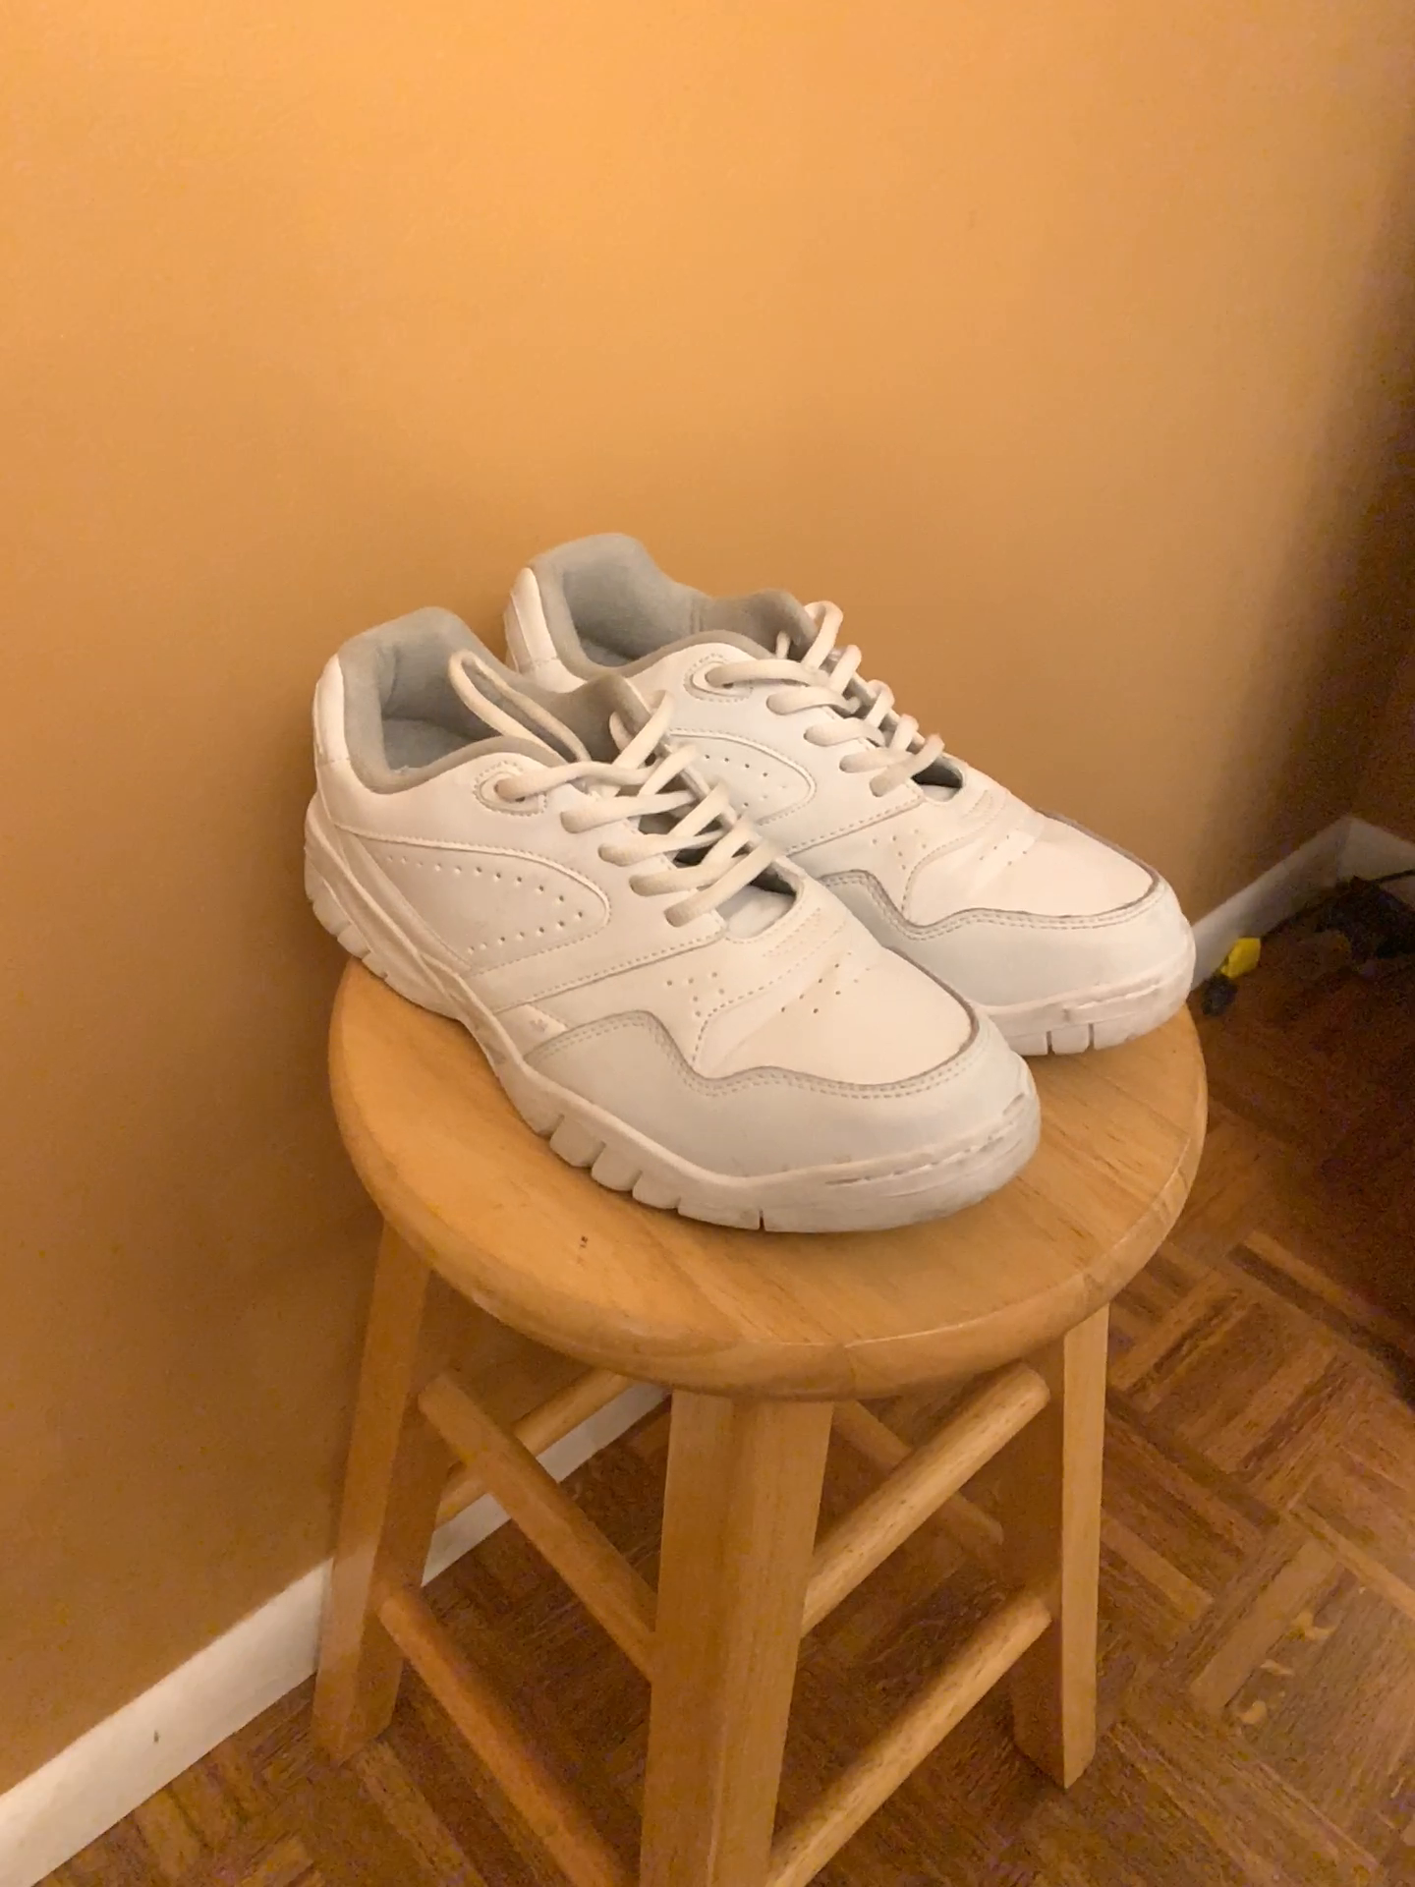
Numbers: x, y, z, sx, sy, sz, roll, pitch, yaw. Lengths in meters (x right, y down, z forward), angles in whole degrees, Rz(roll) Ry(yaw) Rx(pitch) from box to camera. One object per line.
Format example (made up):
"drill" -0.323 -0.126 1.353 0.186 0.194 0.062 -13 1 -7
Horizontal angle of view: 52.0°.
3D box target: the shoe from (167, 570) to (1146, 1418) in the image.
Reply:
"shoe" -0.027 -0.006 0.456 0.271 0.109 0.130 30 46 31

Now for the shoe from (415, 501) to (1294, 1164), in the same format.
"shoe" 0.042 -0.054 0.519 0.270 0.109 0.120 24 43 26
